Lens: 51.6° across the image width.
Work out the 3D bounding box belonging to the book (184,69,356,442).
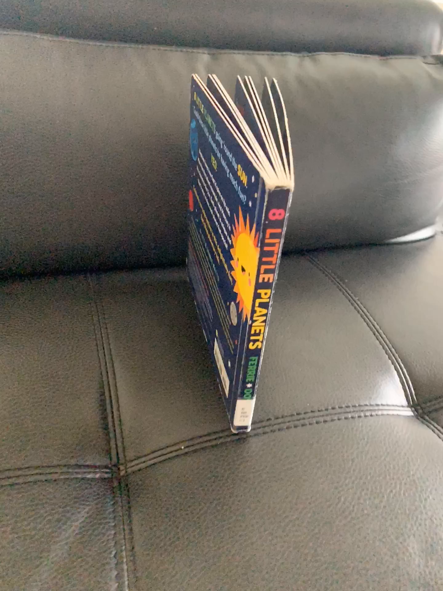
[{"bbox_3d":[0.012,-0.038,0.364,0.079,0.211,0.209,-1,39,-6],"label":"book"}]
